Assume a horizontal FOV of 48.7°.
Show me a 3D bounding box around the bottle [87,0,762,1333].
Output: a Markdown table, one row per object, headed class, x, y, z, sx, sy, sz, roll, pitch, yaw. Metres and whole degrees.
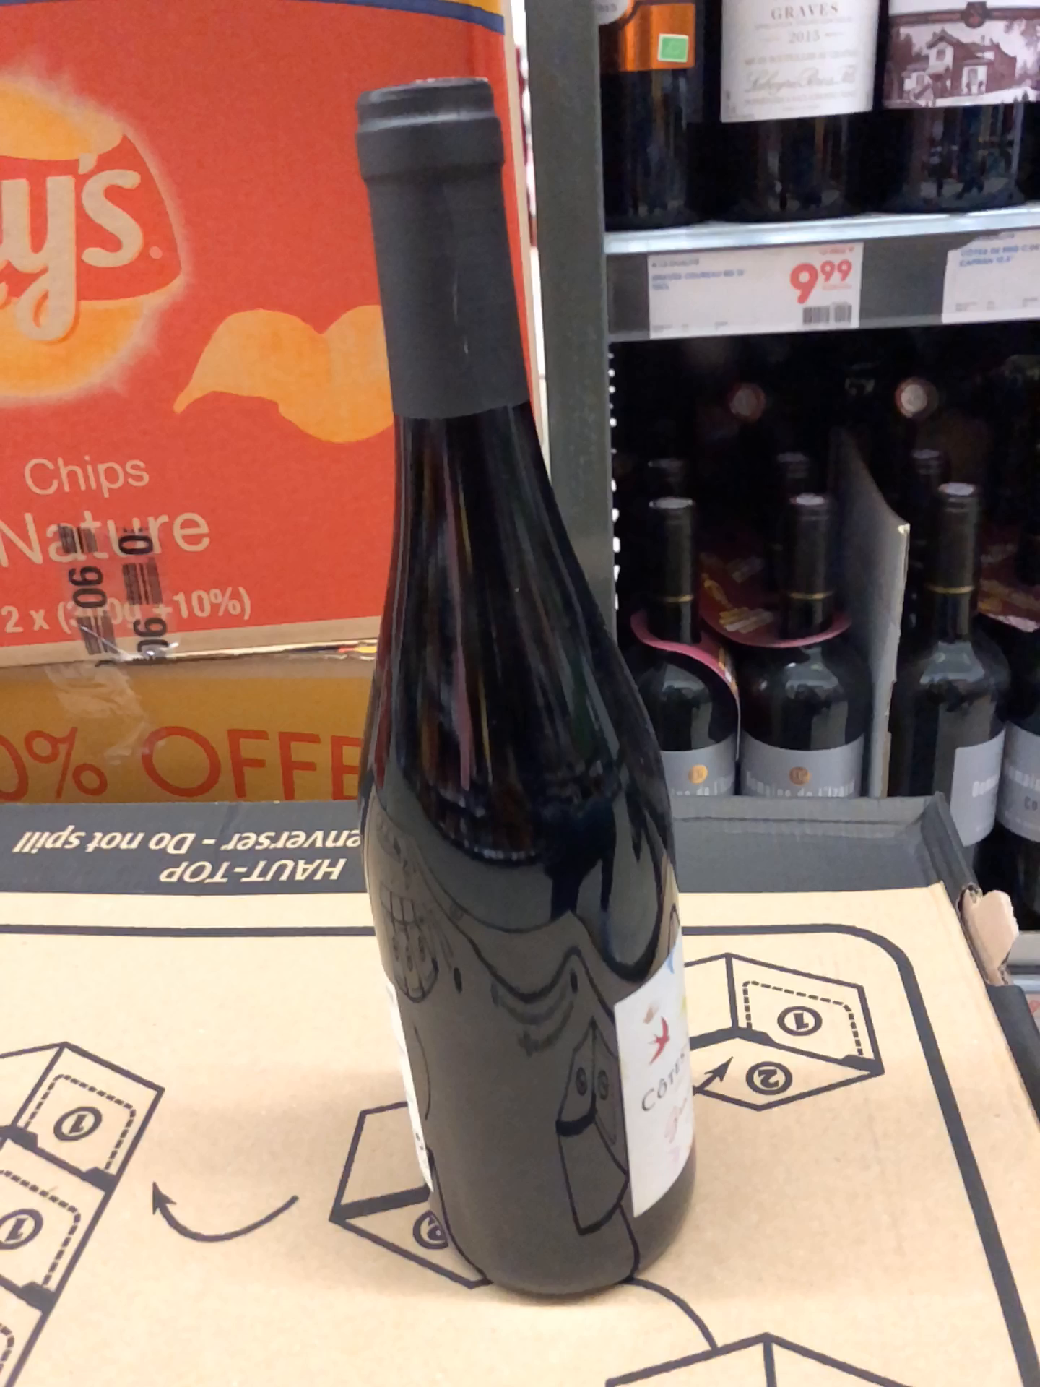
| class | x | y | z | sx | sy | sz | roll | pitch | yaw |
| --- | --- | --- | --- | --- | --- | --- | --- | --- | --- |
| bottle | -0.001 | 0.007 | 0.274 | 0.090 | 0.288 | 0.101 | -6 | 26 | 3 |
